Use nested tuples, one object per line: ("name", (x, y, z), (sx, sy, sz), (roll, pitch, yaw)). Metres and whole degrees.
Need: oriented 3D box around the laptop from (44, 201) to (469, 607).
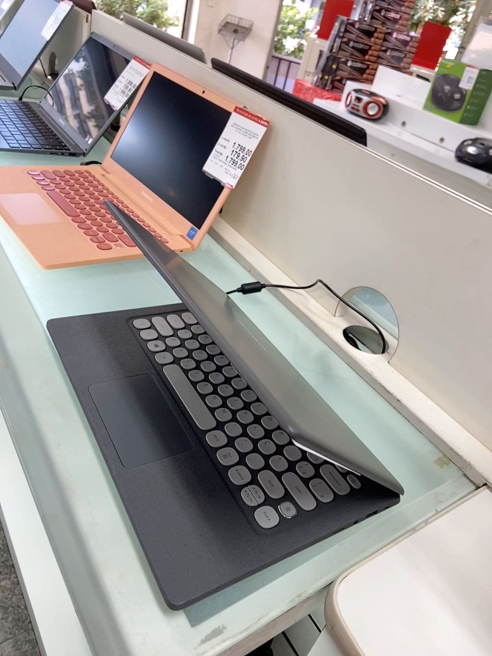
("laptop", (-0.025, 0.016, 0.441), (0.212, 0.132, 0.317), (-9, 39, -32))
